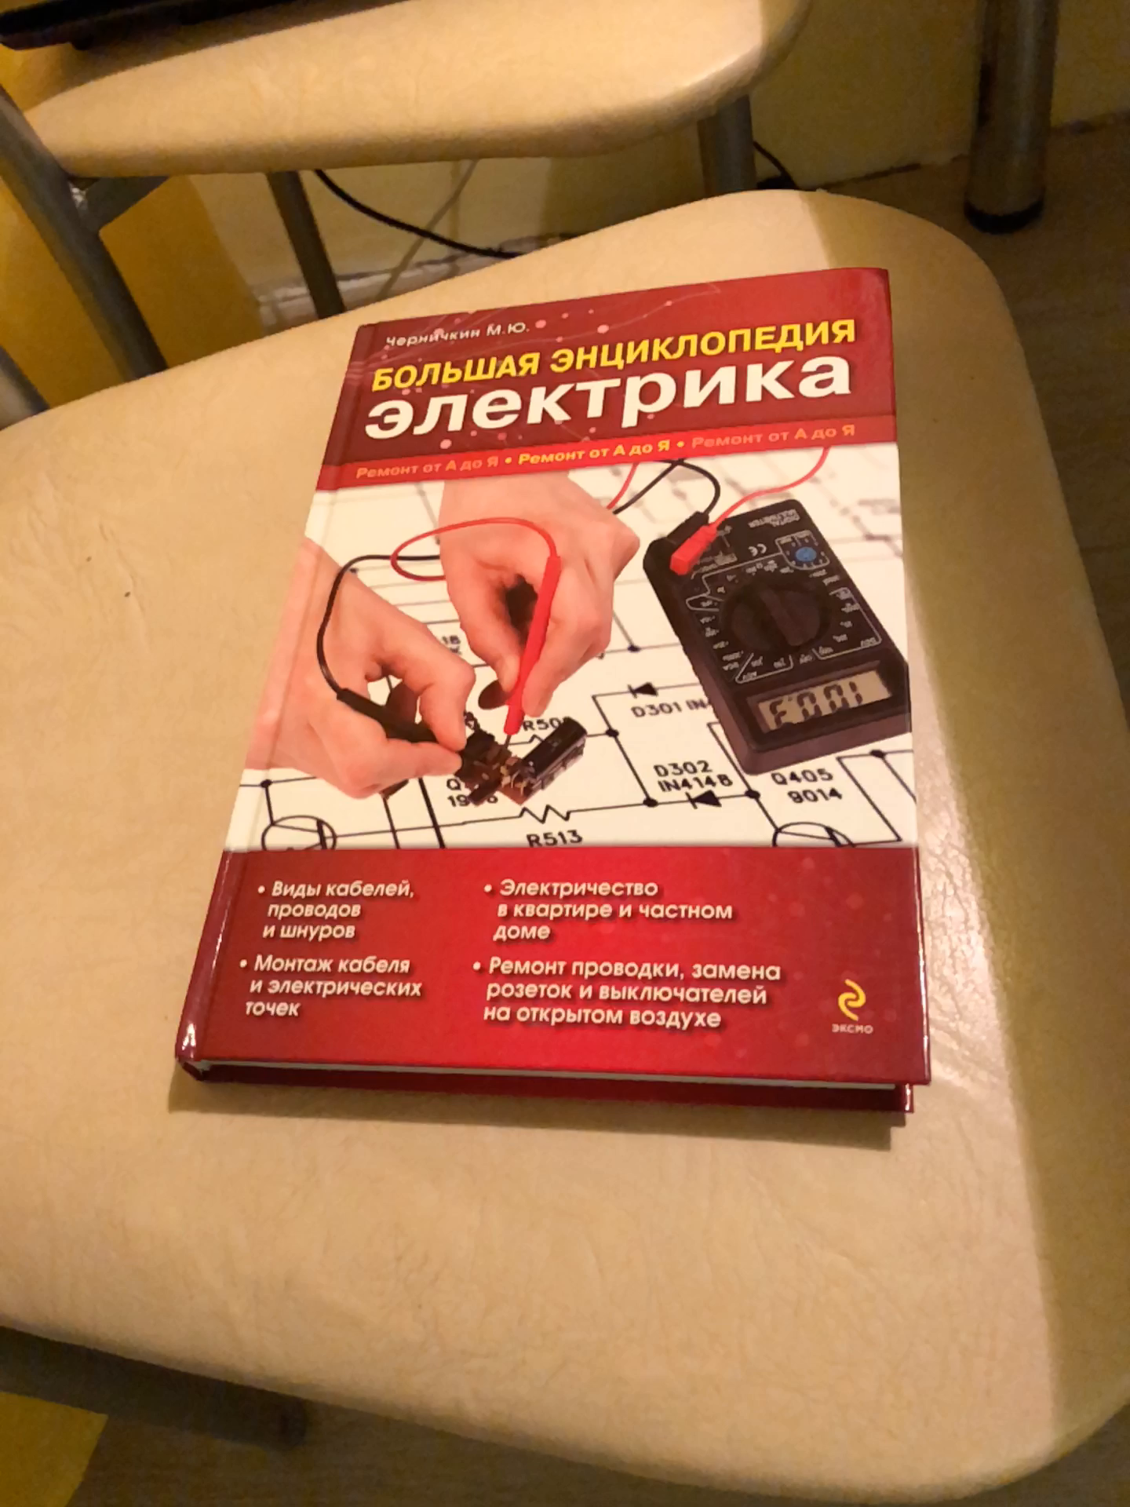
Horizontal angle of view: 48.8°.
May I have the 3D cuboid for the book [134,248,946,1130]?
[{"bbox_3d":[0.004,-0.031,0.328,0.172,0.030,0.242,-1,59,14],"label":"book"}]
